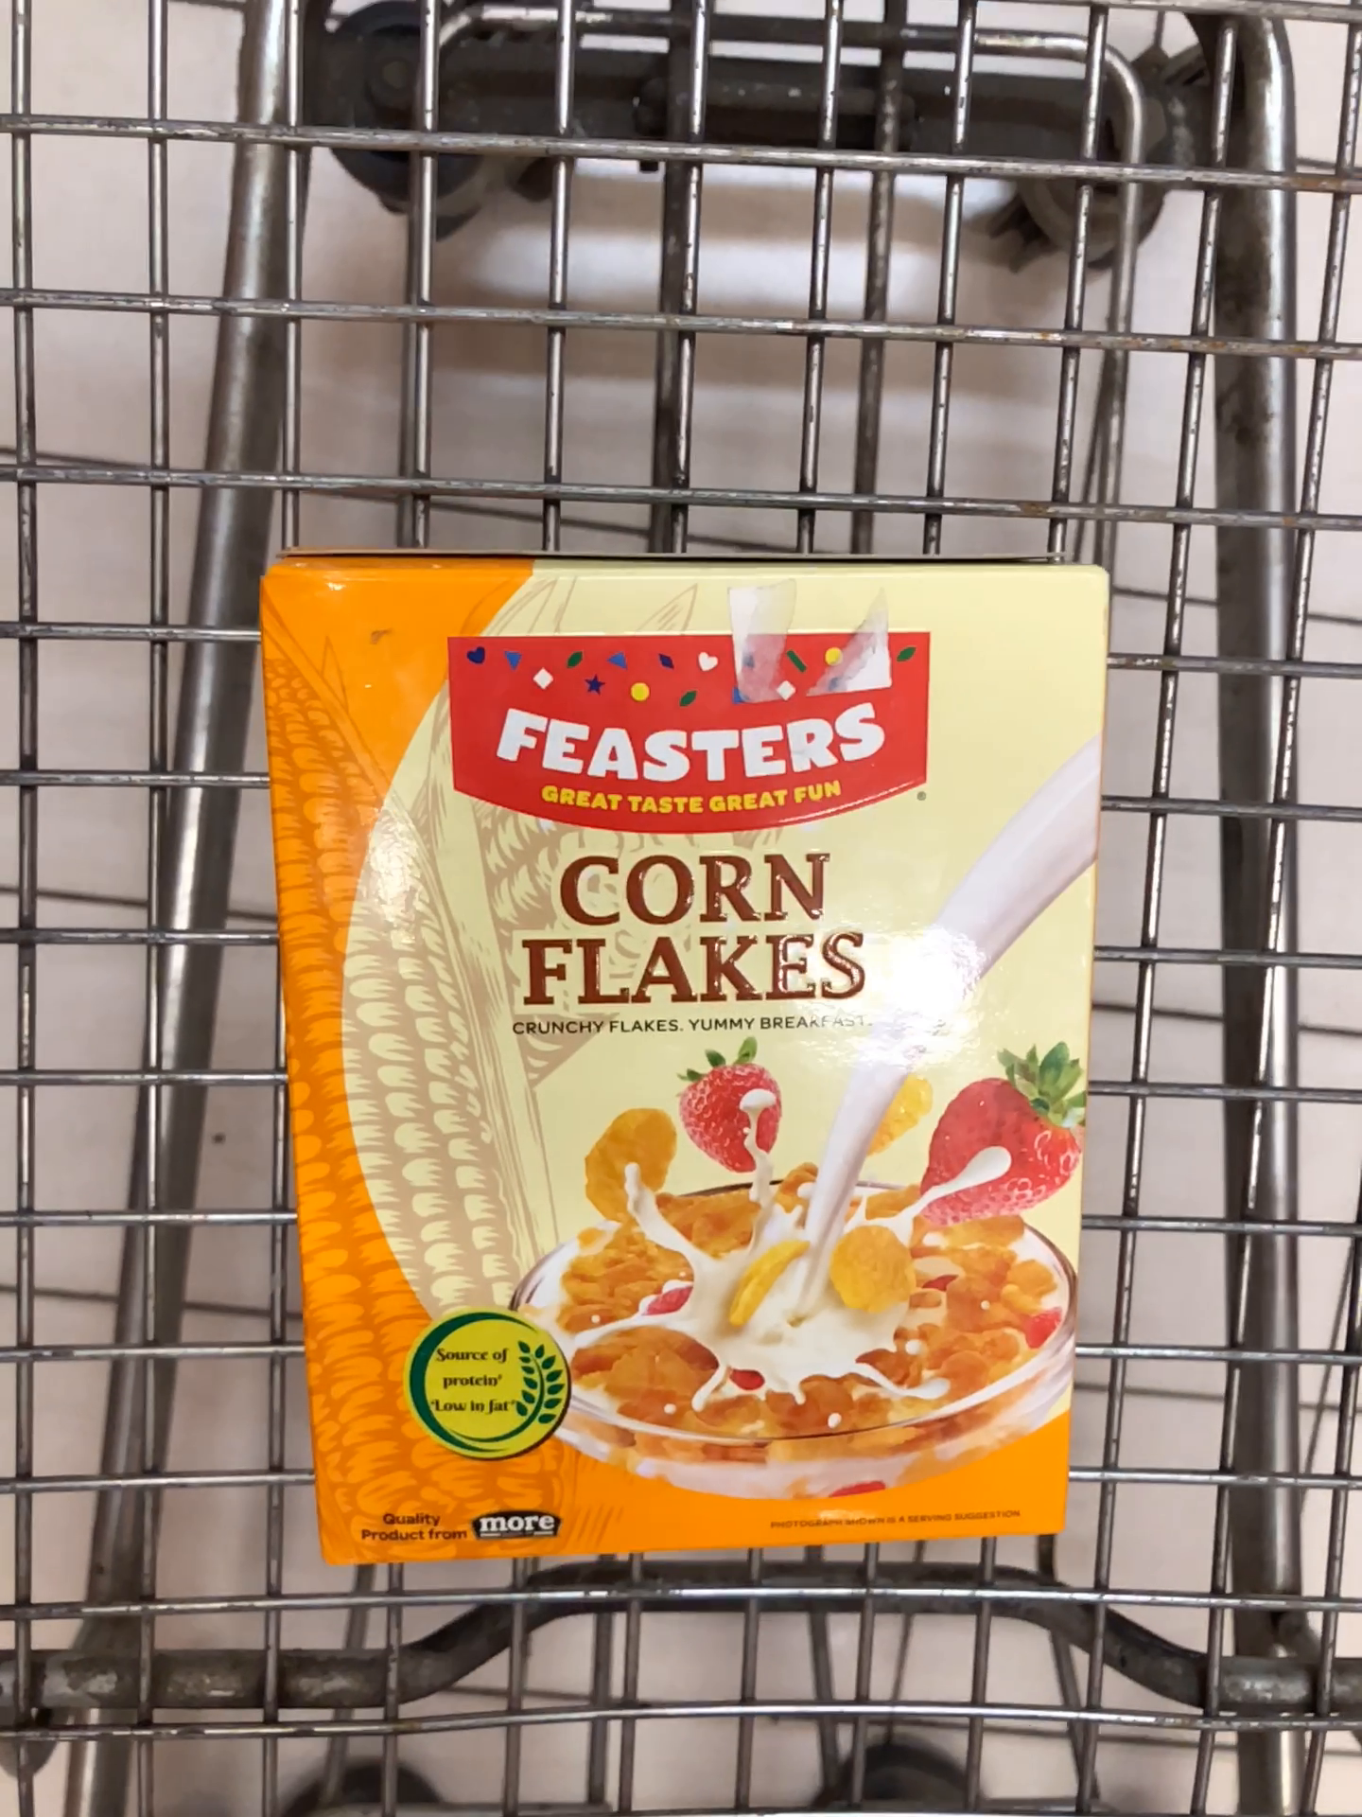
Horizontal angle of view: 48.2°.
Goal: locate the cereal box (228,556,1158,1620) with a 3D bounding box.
[{"bbox_3d":[0.001,0.029,0.277,0.140,0.060,0.180,-1,103,-3],"label":"cereal box"}]
